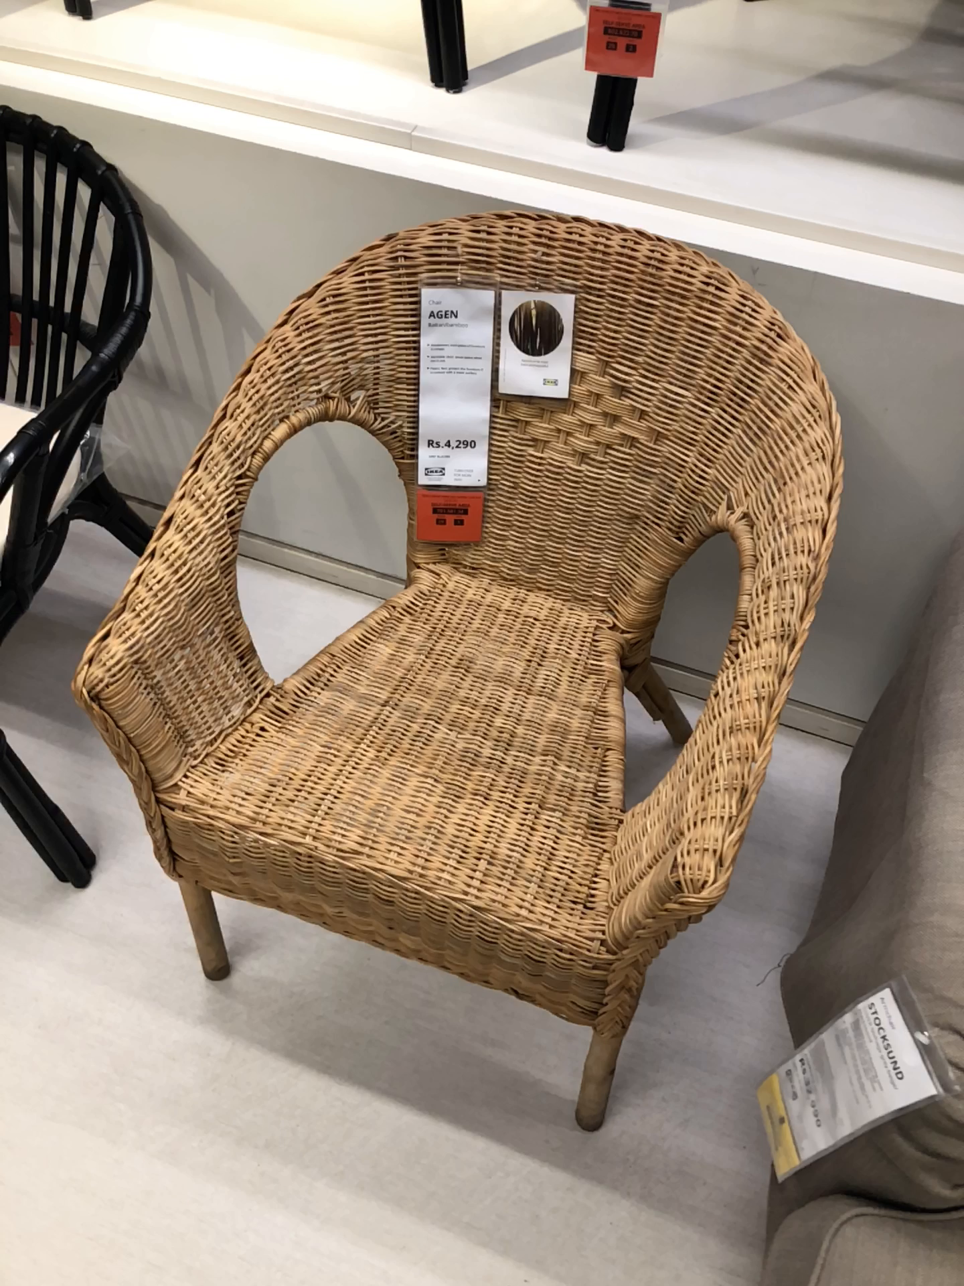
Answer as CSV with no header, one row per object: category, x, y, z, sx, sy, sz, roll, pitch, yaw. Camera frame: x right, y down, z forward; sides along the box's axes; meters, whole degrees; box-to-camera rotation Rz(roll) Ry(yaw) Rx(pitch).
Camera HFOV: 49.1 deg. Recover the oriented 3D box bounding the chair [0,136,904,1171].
chair,-0.013,0.030,1.051,0.550,0.696,0.603,17,53,12
